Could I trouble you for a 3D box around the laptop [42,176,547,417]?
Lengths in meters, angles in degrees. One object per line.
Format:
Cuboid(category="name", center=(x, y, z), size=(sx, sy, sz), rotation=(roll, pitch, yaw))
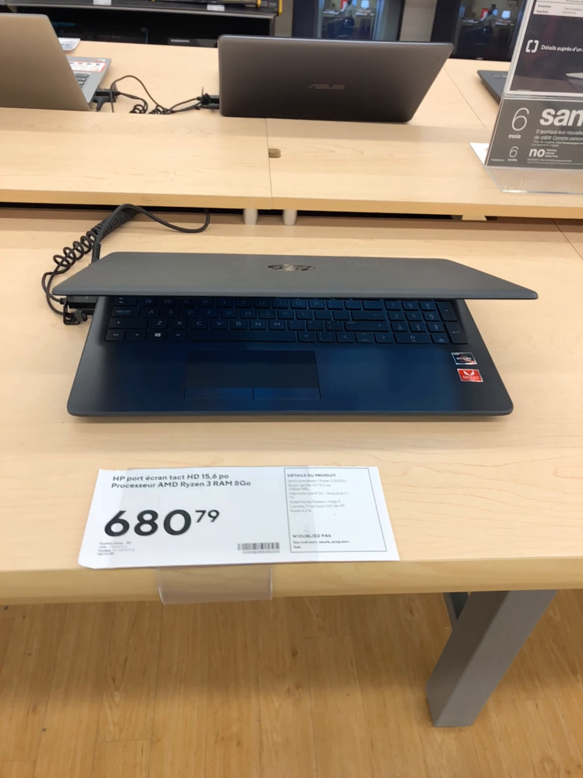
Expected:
Cuboid(category="laptop", center=(0.002, -0.094, 0.582), size=(0.366, 0.090, 0.243), rotation=(0, 41, -6))
